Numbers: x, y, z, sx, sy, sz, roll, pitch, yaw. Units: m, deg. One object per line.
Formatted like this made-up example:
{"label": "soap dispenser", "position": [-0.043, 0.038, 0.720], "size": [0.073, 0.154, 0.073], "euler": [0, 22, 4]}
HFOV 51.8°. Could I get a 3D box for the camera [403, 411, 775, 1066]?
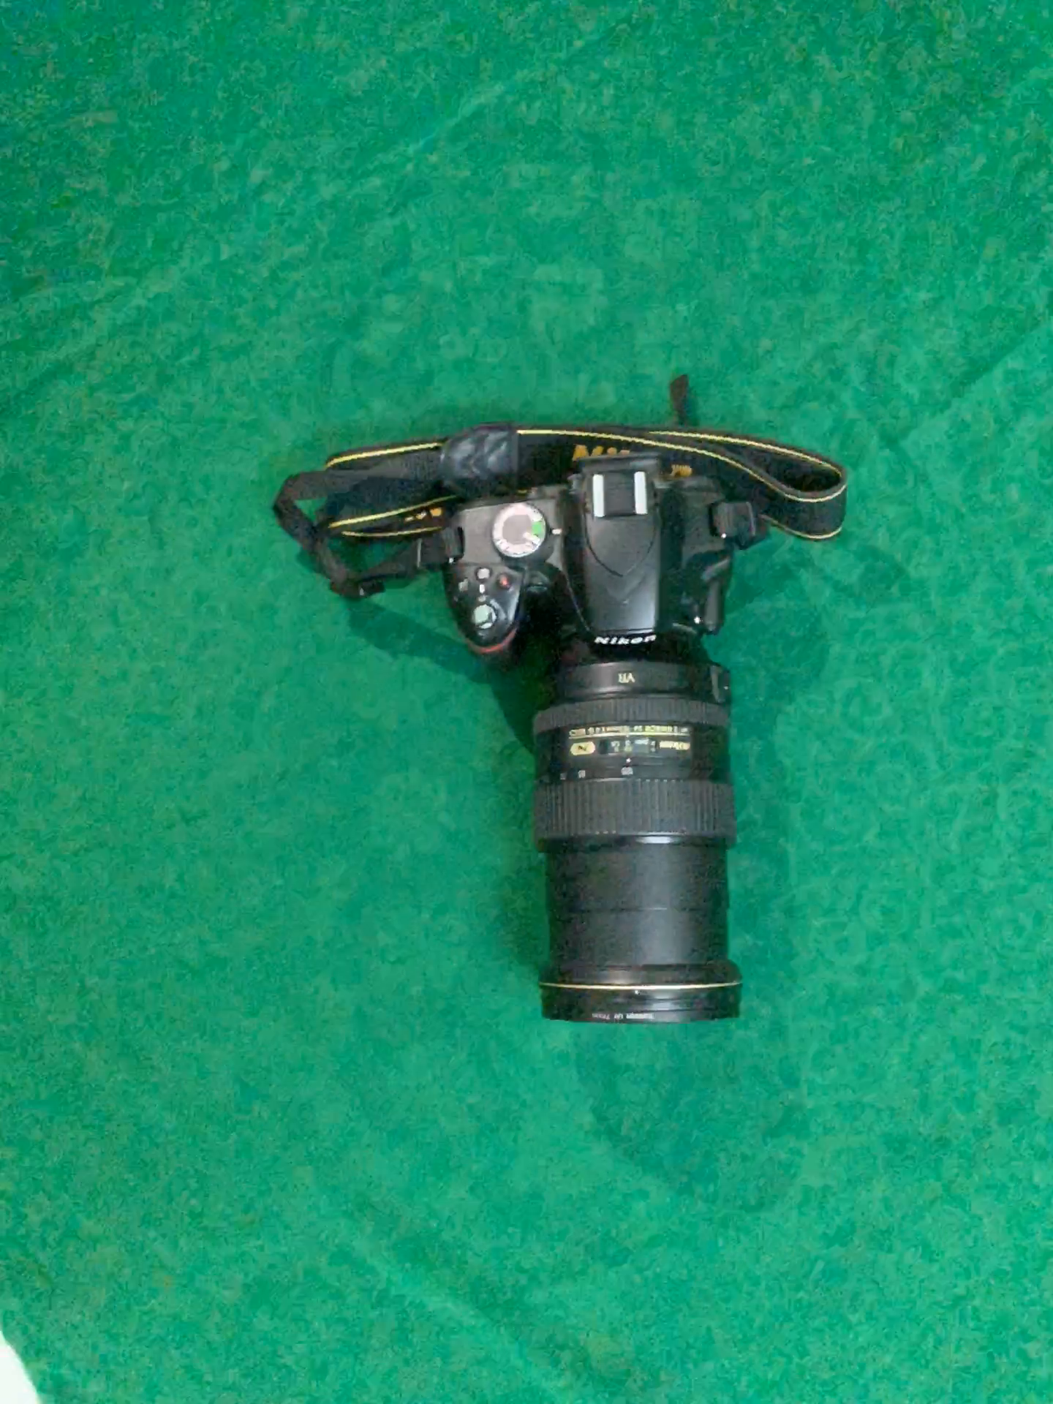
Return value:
{"label": "camera", "position": [0.023, 0.016, 0.439], "size": [0.122, 0.088, 0.234], "euler": [-4, 80, 6]}
